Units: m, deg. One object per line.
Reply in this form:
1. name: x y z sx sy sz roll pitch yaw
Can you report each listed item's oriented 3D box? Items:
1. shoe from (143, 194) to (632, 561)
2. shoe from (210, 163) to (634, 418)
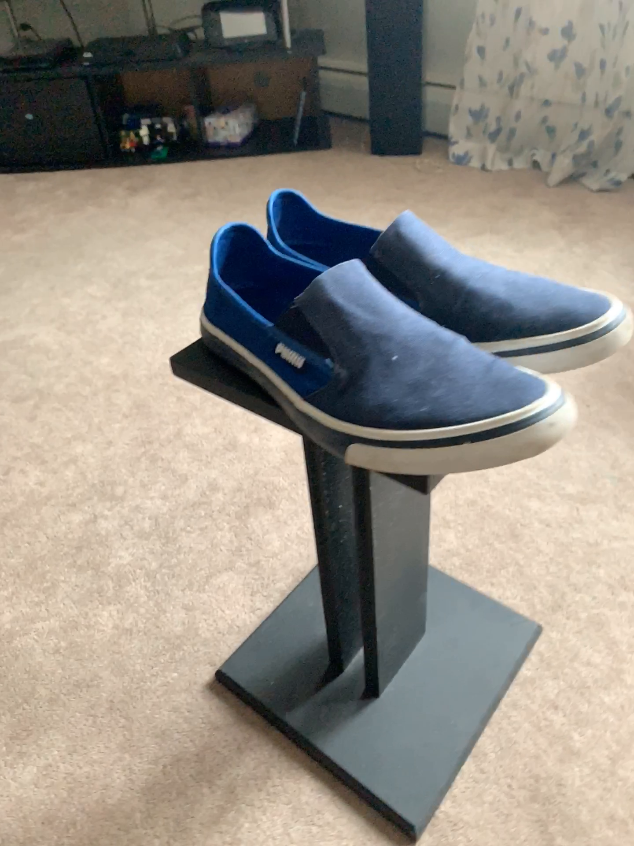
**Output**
1. shoe: 0.021 -0.057 0.423 0.120 0.079 0.301 -30 45 -28
2. shoe: 0.079 -0.114 0.482 0.301 0.079 0.121 21 45 29
